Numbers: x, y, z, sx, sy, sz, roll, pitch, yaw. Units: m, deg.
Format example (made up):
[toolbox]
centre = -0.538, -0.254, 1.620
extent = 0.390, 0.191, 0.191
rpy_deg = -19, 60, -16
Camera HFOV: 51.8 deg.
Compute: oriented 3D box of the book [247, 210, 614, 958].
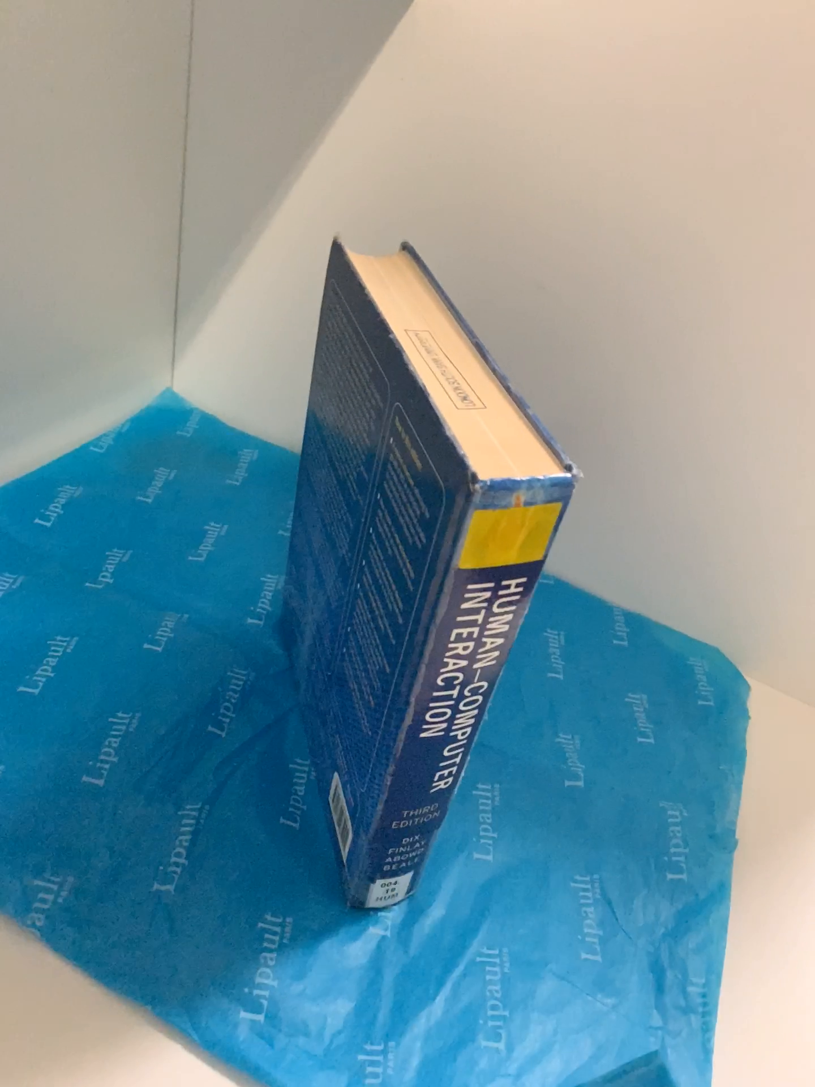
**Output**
[book]
centre = -0.021, 0.013, 0.392
extent = 0.050, 0.258, 0.222
rpy_deg = -2, 37, -21
